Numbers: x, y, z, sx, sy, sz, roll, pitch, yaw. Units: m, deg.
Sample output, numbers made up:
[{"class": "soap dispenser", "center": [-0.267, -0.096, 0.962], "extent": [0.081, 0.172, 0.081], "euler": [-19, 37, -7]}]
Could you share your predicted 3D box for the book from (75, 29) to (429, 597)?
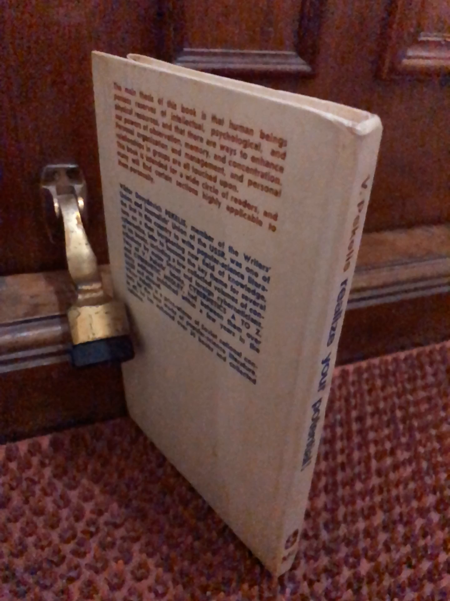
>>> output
[{"class": "book", "center": [-0.011, 0.006, 0.227], "extent": [0.030, 0.209, 0.150], "euler": [-20, 40, -31]}]
